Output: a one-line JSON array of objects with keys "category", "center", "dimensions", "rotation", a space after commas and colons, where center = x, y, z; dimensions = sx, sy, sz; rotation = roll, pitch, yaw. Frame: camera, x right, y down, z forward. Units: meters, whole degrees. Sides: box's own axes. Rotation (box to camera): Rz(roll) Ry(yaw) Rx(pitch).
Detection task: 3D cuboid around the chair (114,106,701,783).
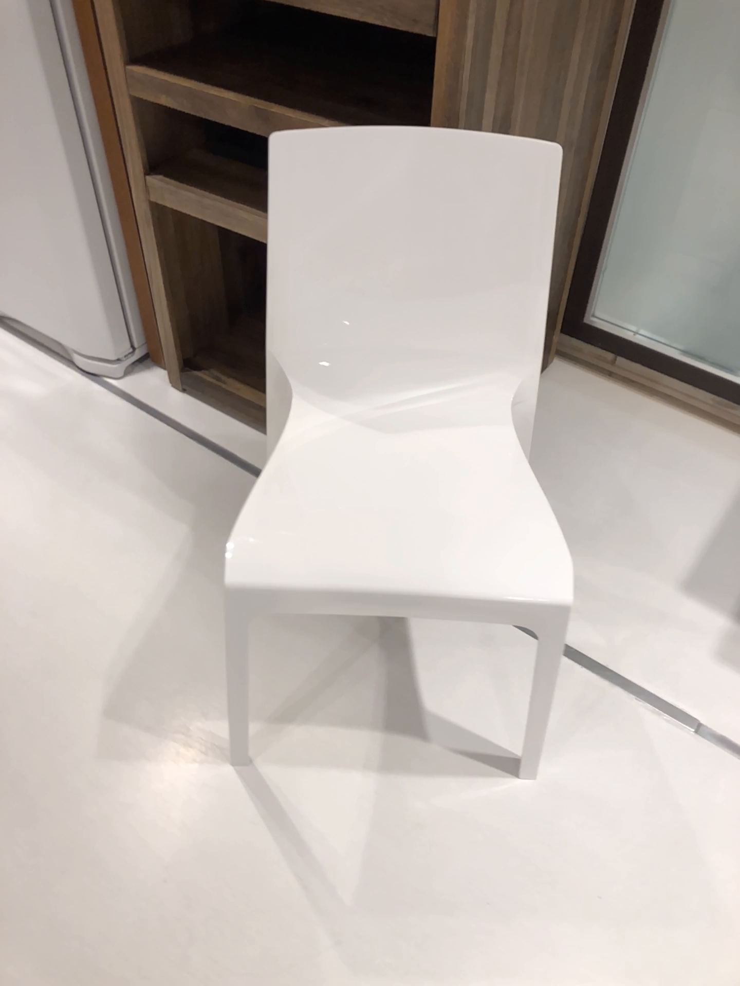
[{"category": "chair", "center": [0.027, -0.032, 1.117], "dimensions": [0.480, 0.755, 0.524], "rotation": [2, 45, 0]}]
